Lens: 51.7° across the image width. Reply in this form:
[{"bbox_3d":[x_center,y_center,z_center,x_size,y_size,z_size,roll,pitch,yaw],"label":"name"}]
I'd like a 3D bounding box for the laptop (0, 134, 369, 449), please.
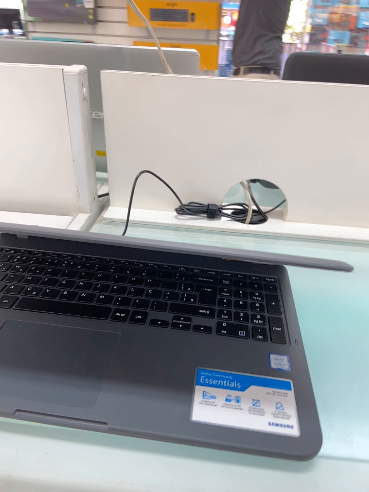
[{"bbox_3d":[-0.071,0.008,0.351,0.367,0.126,0.238,6,31,4],"label":"laptop"}]
